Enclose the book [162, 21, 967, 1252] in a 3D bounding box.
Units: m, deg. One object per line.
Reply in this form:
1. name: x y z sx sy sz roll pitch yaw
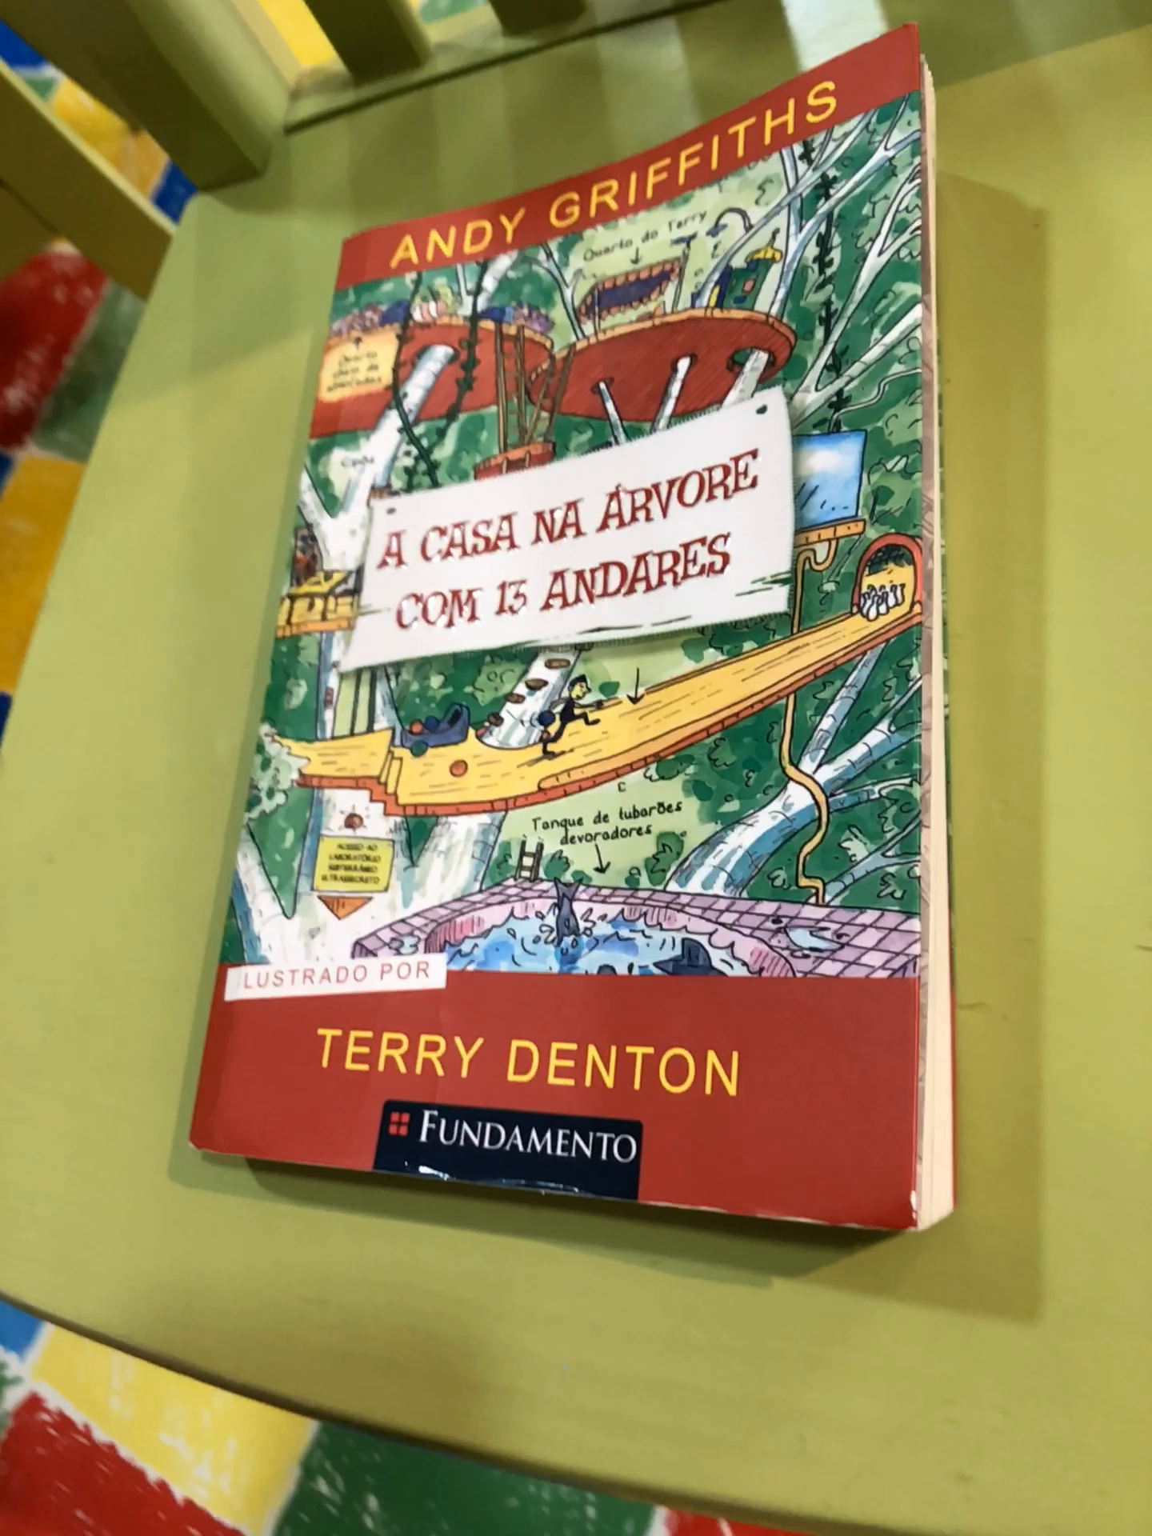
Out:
1. book: 0.002 -0.025 0.253 0.137 0.040 0.210 -4 71 29
